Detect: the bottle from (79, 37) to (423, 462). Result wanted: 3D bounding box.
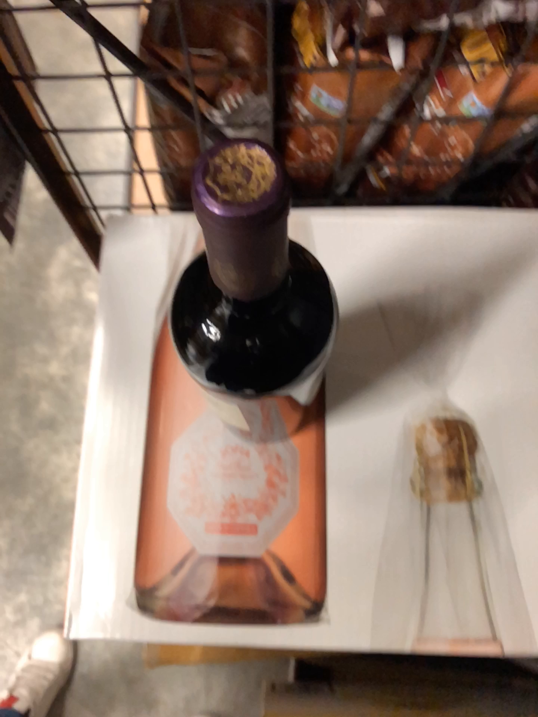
[{"bbox_3d":[-0.007,-0.012,0.312,0.085,0.291,0.073,-13,73,-4],"label":"bottle"}]
